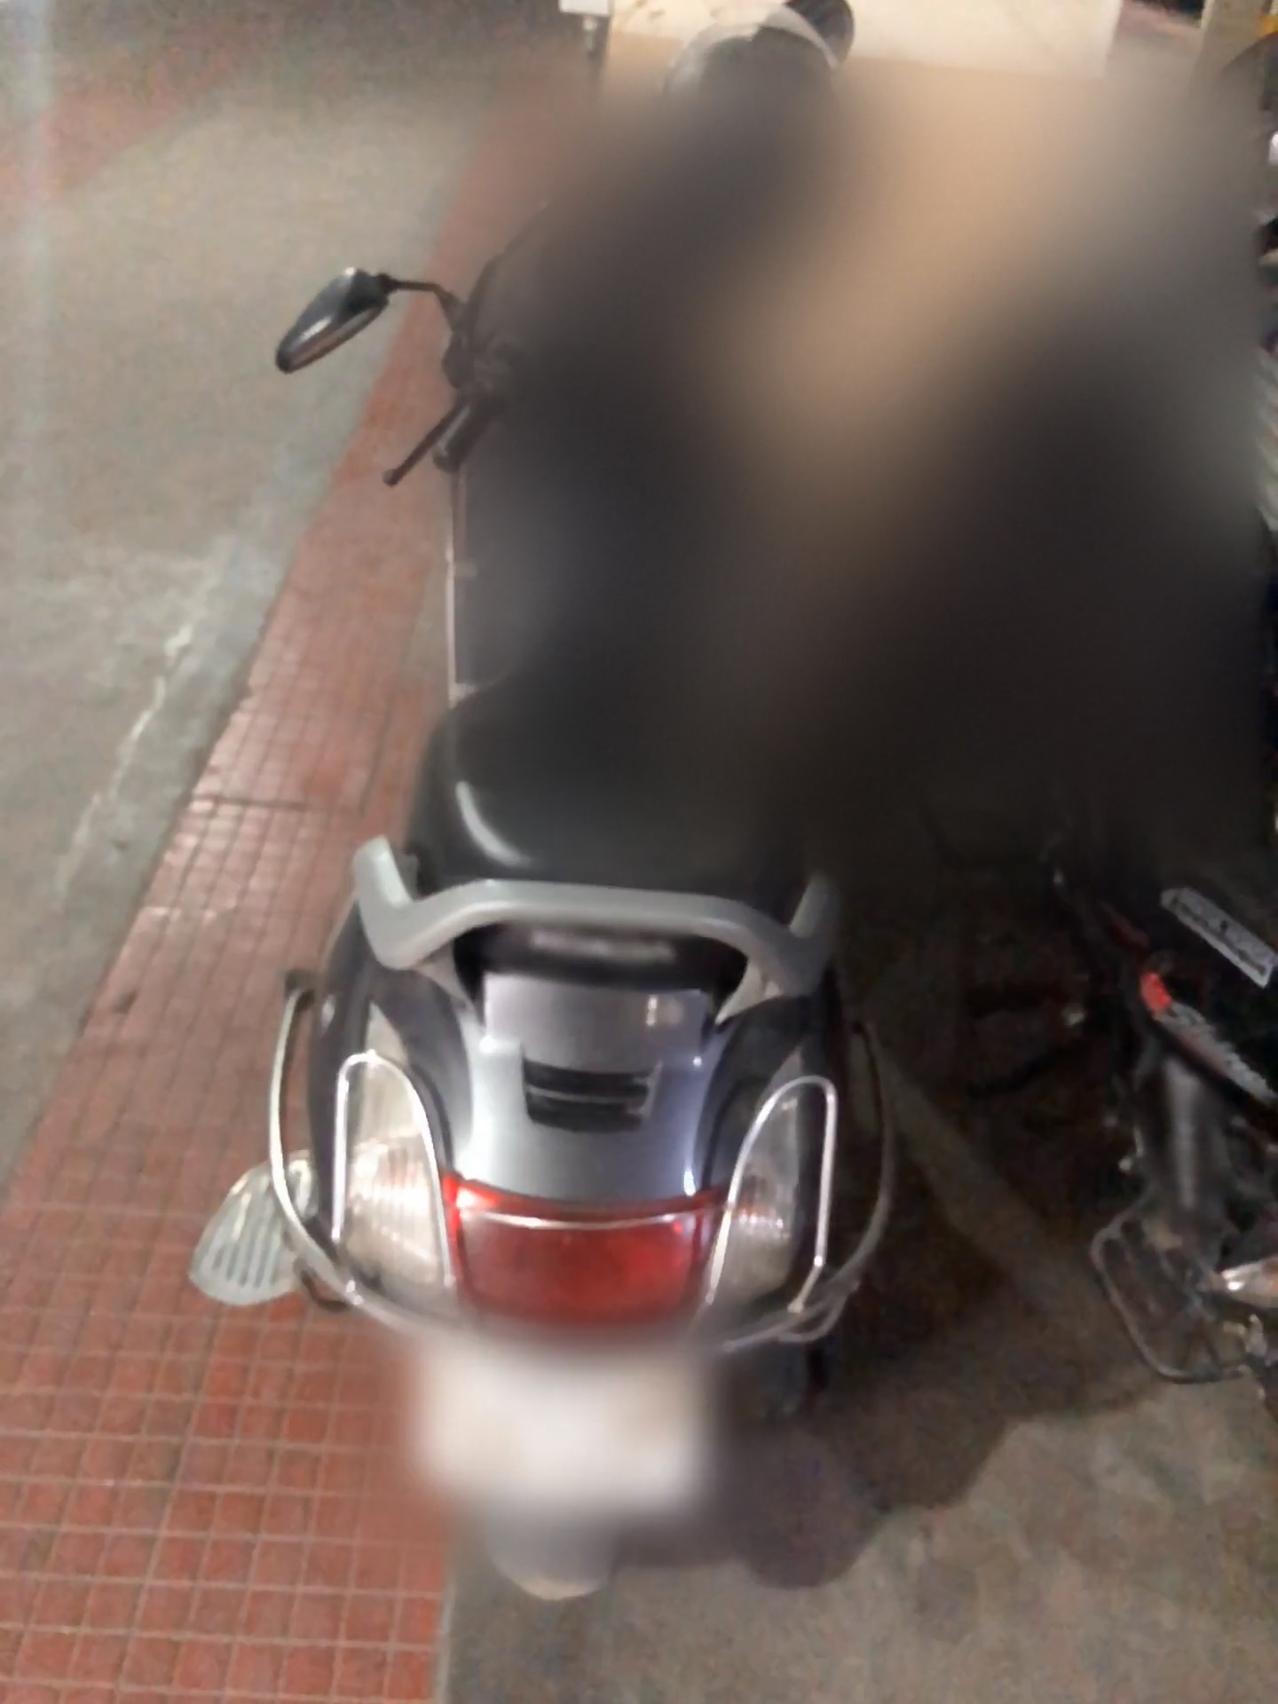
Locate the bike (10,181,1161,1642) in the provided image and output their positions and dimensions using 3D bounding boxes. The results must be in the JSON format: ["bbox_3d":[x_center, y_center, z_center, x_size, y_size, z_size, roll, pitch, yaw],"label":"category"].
[{"bbox_3d":[-0.162,-0.094,1.644,0.595,0.988,1.502,1,34,-8],"label":"bike"}]
